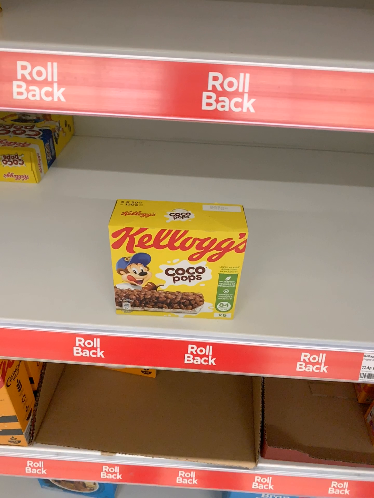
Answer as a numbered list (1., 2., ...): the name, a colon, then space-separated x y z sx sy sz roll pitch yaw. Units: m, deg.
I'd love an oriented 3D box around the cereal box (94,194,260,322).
1. cereal box: -0.011 0.012 0.408 0.150 0.119 0.061 3 38 -1
